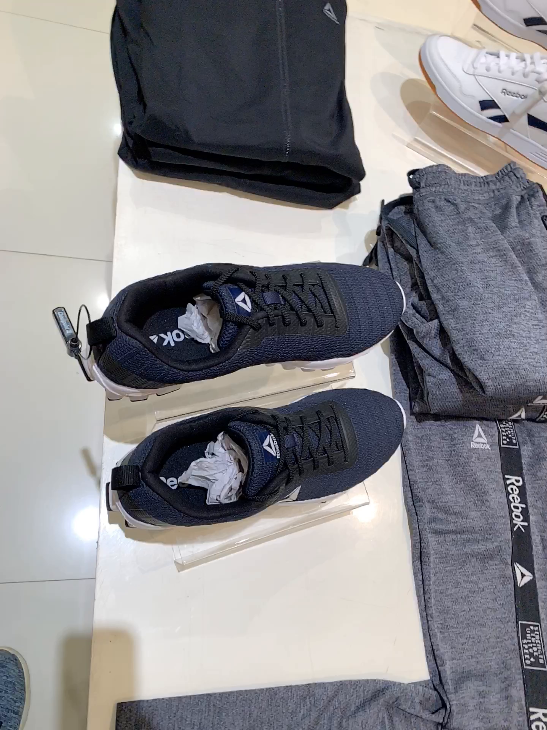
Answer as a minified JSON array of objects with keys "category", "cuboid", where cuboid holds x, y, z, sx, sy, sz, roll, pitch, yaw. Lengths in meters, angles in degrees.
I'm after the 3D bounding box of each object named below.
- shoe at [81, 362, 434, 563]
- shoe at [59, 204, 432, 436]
[{"category":"shoe","cuboid":[-0.001,0.073,0.488,0.291,0.080,0.100,-8,74,-35]},{"category":"shoe","cuboid":[-0.021,-0.045,0.480,0.281,0.080,0.120,-15,77,-21]}]
